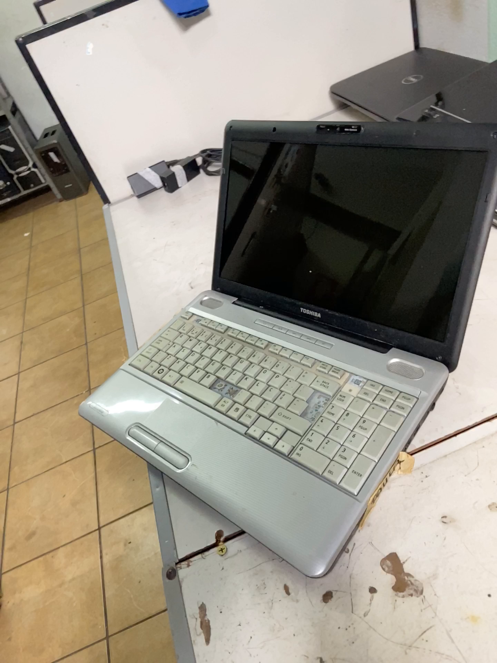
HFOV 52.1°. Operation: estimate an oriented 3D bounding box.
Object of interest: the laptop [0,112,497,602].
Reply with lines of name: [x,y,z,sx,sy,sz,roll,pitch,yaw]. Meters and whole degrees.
laptop: [0.032,-0.040,0.533,0.372,0.190,0.400,19,54,39]
